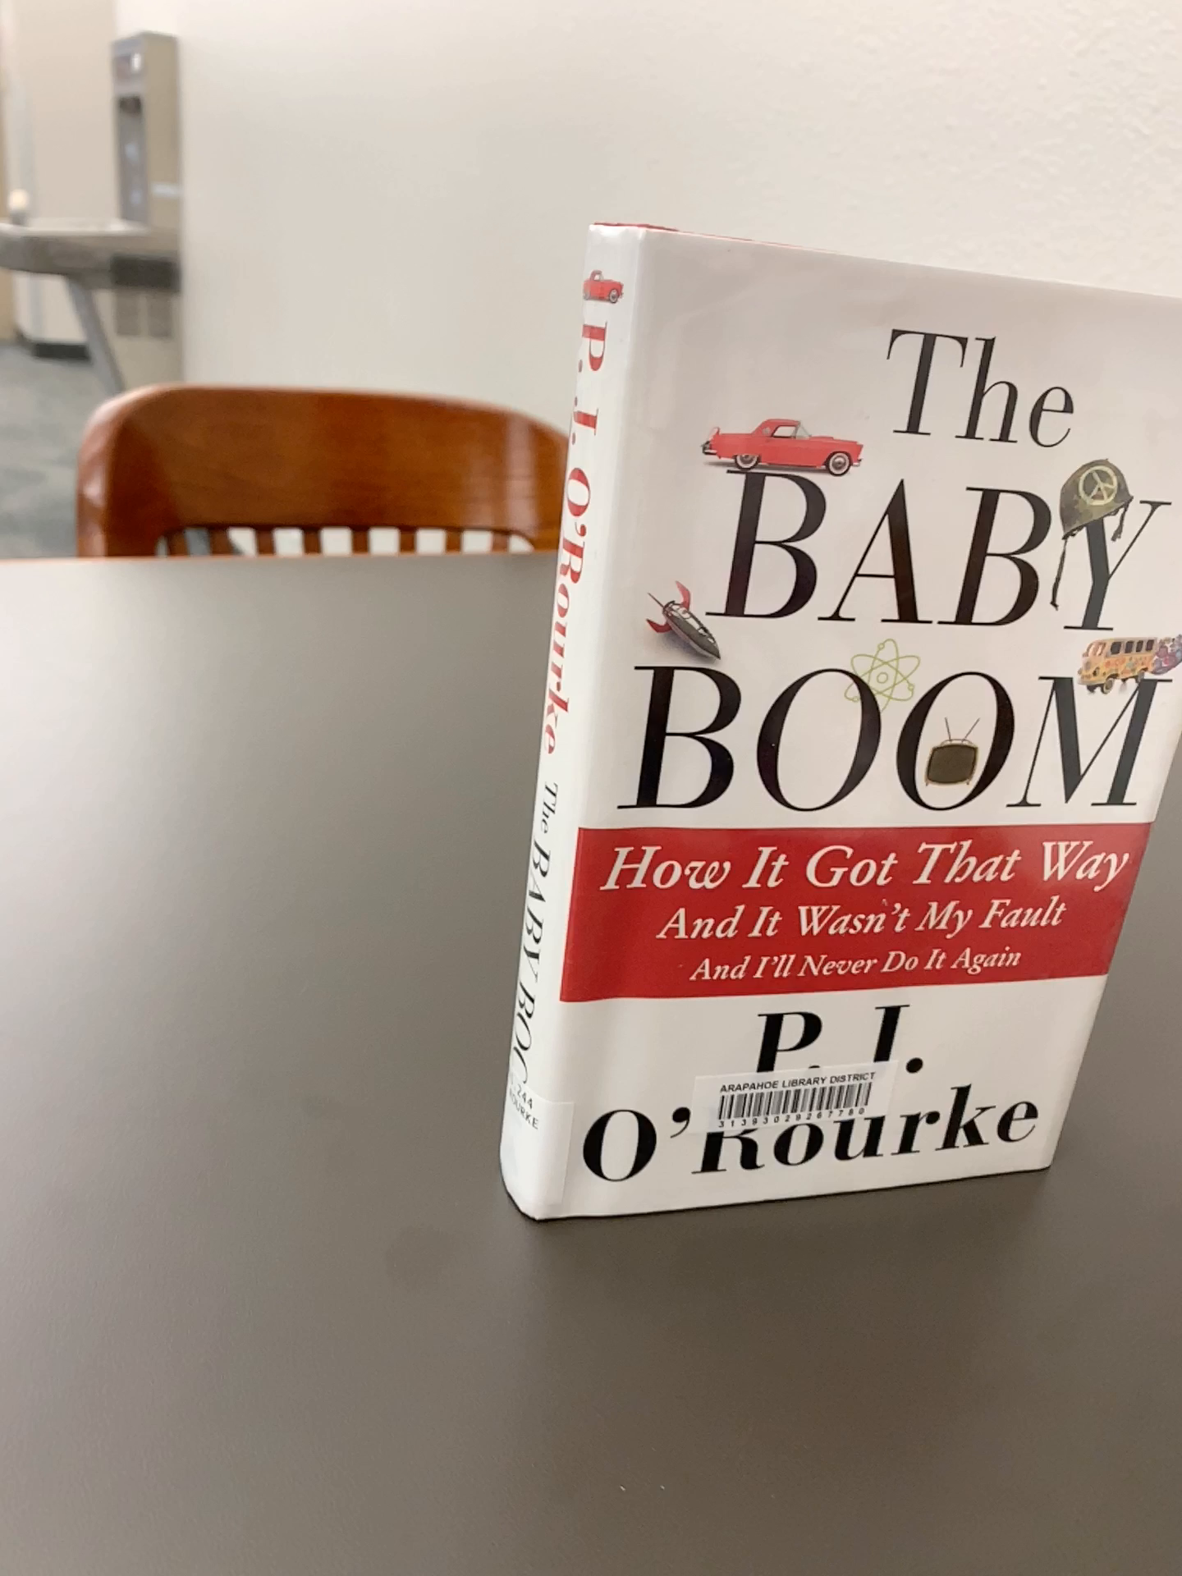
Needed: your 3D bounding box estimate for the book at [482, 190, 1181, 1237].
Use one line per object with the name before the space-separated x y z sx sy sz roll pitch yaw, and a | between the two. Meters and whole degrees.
book | 0.063 -0.005 0.294 0.160 0.231 0.030 -1 22 -17
